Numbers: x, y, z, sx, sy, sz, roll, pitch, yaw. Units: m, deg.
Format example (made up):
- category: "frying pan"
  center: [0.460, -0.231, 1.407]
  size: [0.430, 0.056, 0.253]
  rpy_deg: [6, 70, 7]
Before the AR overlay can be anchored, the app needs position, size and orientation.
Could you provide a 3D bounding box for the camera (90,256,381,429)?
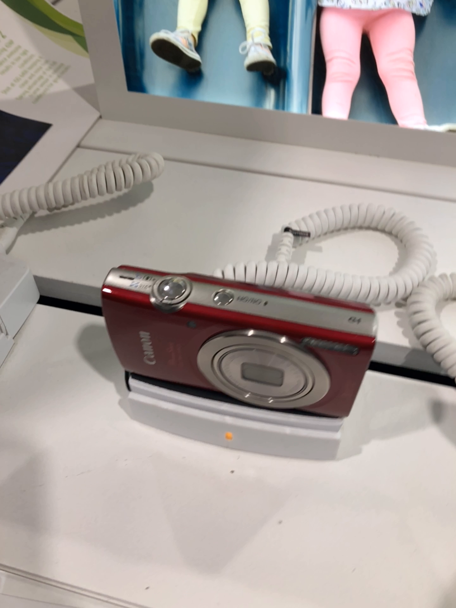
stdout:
- category: "camera"
  center: [0.003, 0.015, 0.185]
  size: [0.093, 0.050, 0.022]
  rpy_deg: [9, 49, 8]
